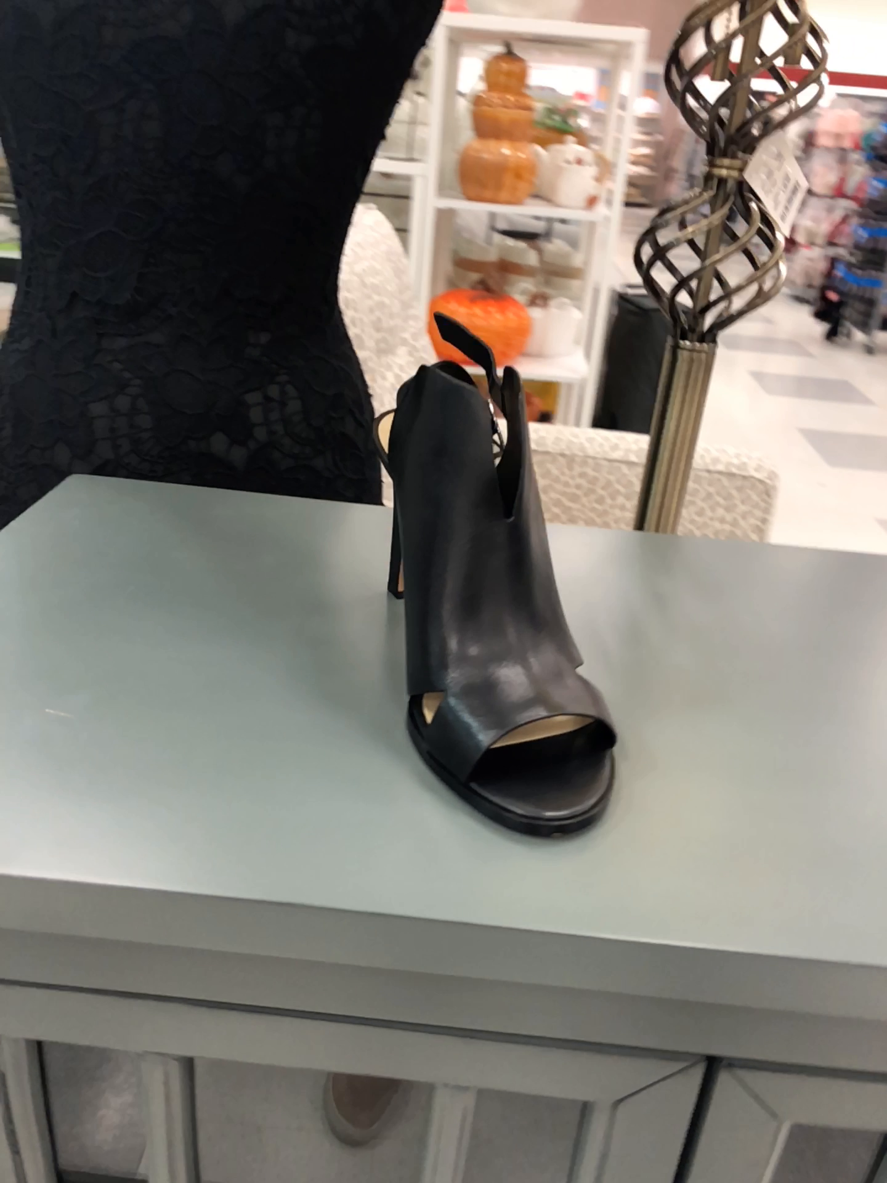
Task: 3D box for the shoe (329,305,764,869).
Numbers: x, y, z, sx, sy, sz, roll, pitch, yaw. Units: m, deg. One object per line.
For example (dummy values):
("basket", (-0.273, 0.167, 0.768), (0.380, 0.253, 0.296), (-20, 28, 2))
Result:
("shoe", (0.018, -0.025, 0.429), (0.092, 0.151, 0.240), (-3, 26, -16))
